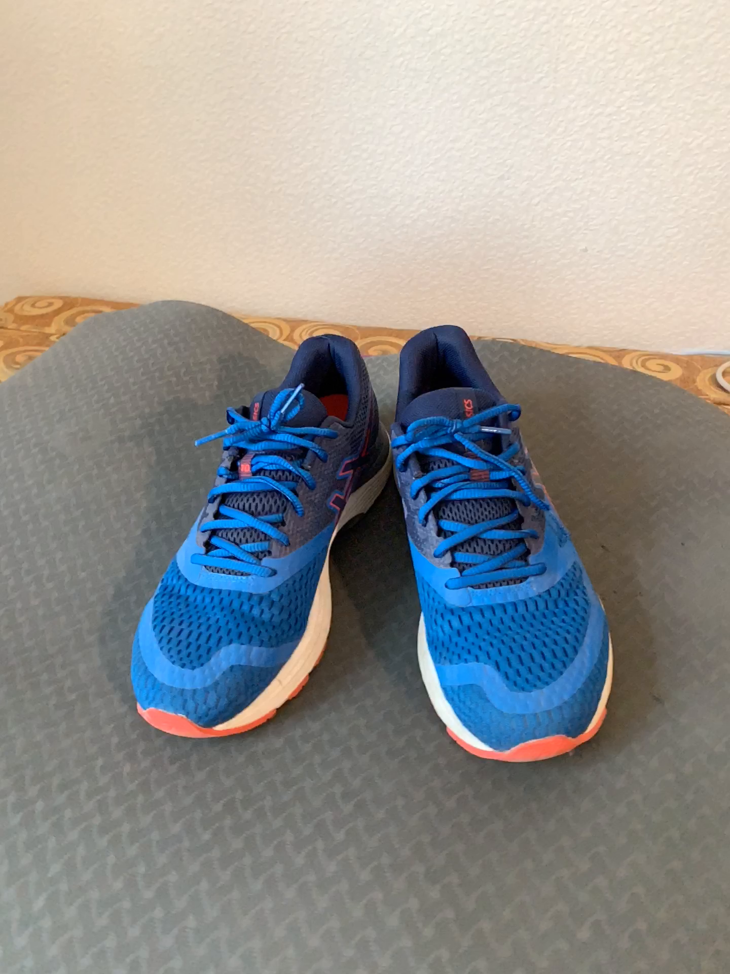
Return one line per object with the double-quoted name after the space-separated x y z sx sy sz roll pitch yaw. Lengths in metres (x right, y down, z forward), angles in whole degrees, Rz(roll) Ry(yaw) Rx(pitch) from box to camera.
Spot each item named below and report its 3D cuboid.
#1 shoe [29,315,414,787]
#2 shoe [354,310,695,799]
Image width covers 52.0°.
-0.061 0.015 0.492 0.120 0.109 0.301 9 43 14 "shoe"
0.071 0.017 0.472 0.120 0.109 0.302 -6 42 -3 "shoe"
